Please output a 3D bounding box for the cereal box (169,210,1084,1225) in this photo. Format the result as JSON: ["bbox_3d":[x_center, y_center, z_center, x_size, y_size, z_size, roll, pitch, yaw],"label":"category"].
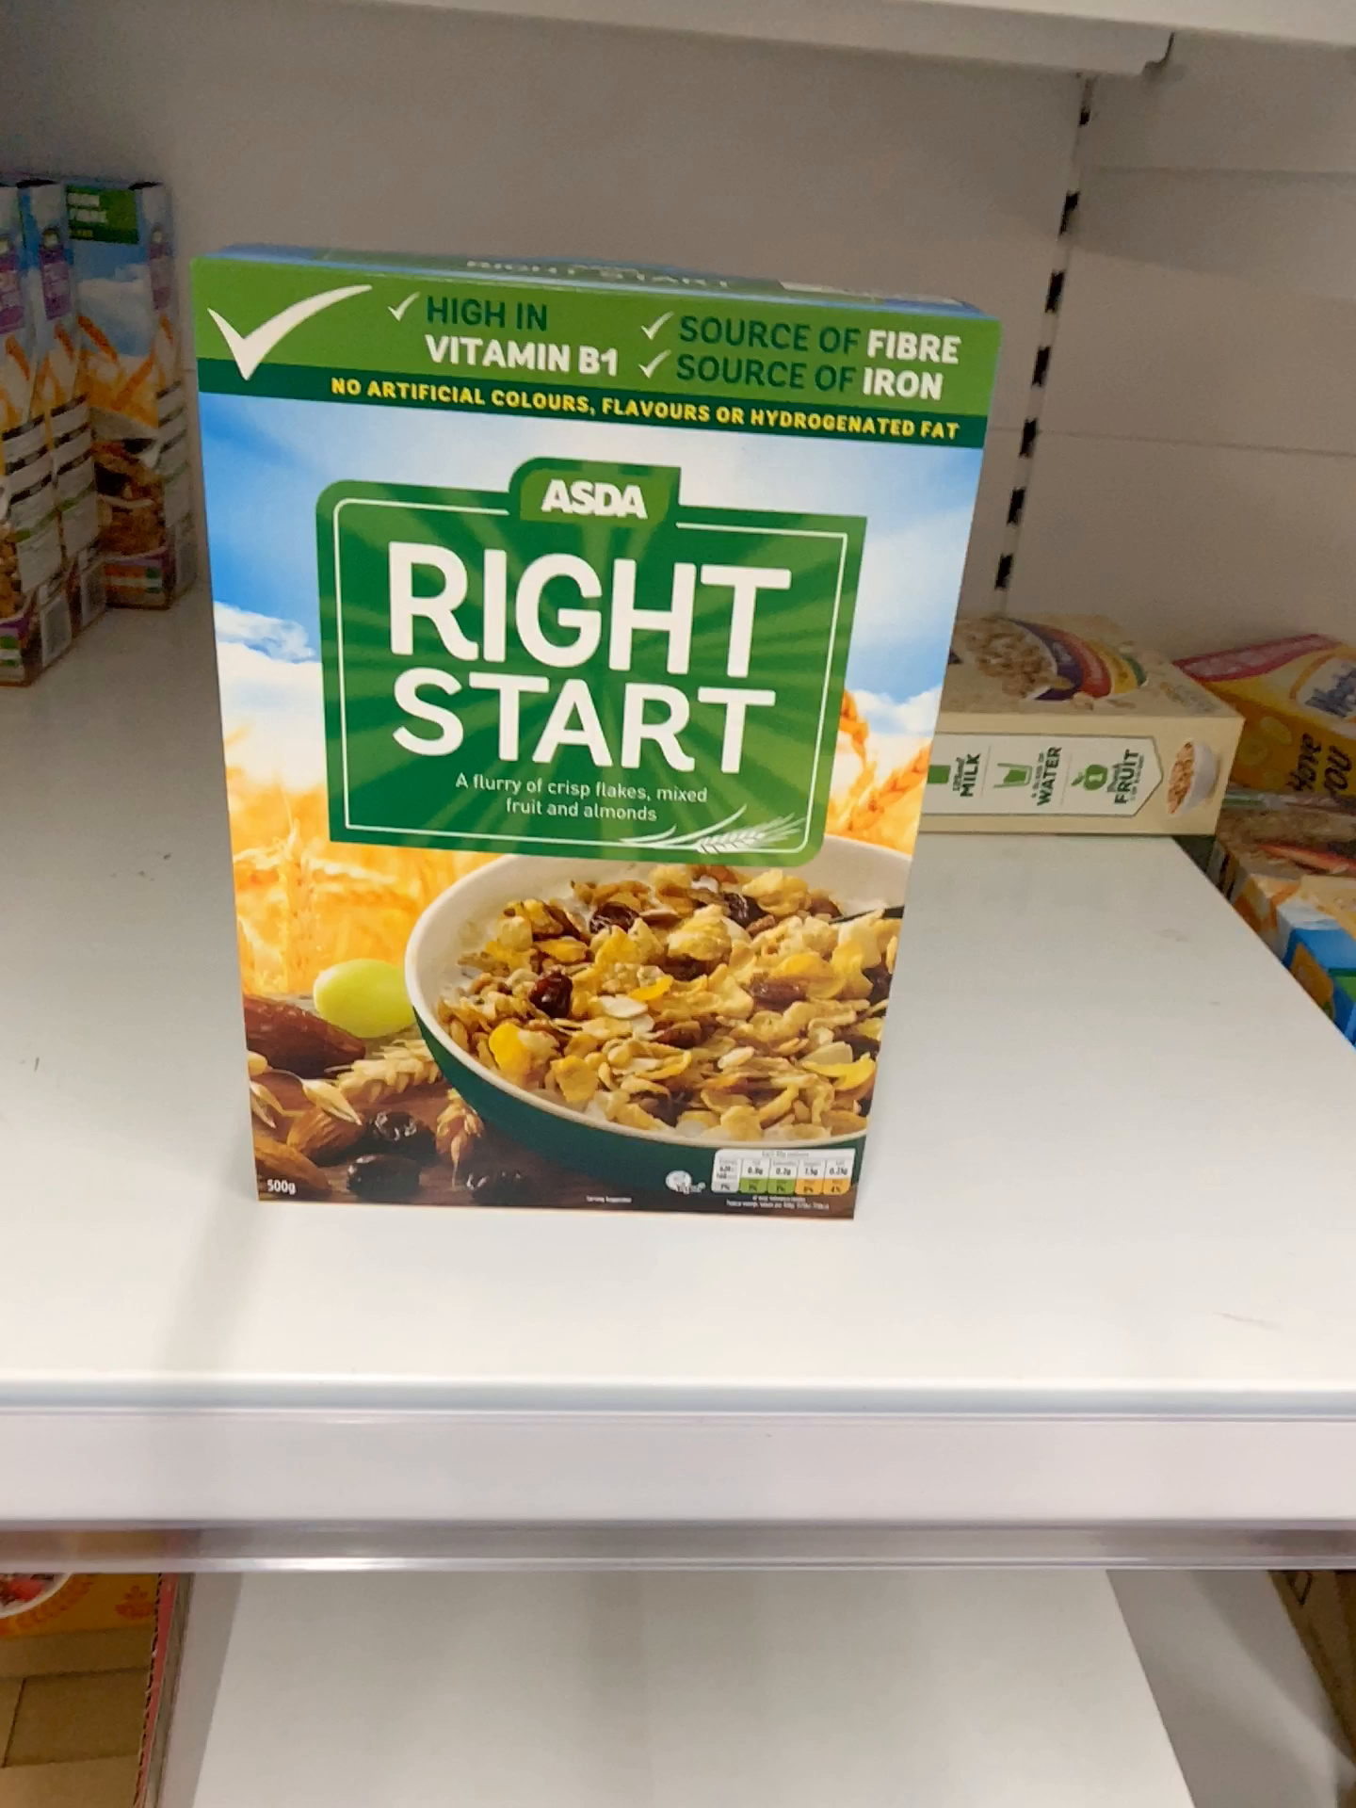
[{"bbox_3d":[-0.021,-0.039,0.397,0.200,0.268,0.071,3,28,-4],"label":"cereal box"}]
